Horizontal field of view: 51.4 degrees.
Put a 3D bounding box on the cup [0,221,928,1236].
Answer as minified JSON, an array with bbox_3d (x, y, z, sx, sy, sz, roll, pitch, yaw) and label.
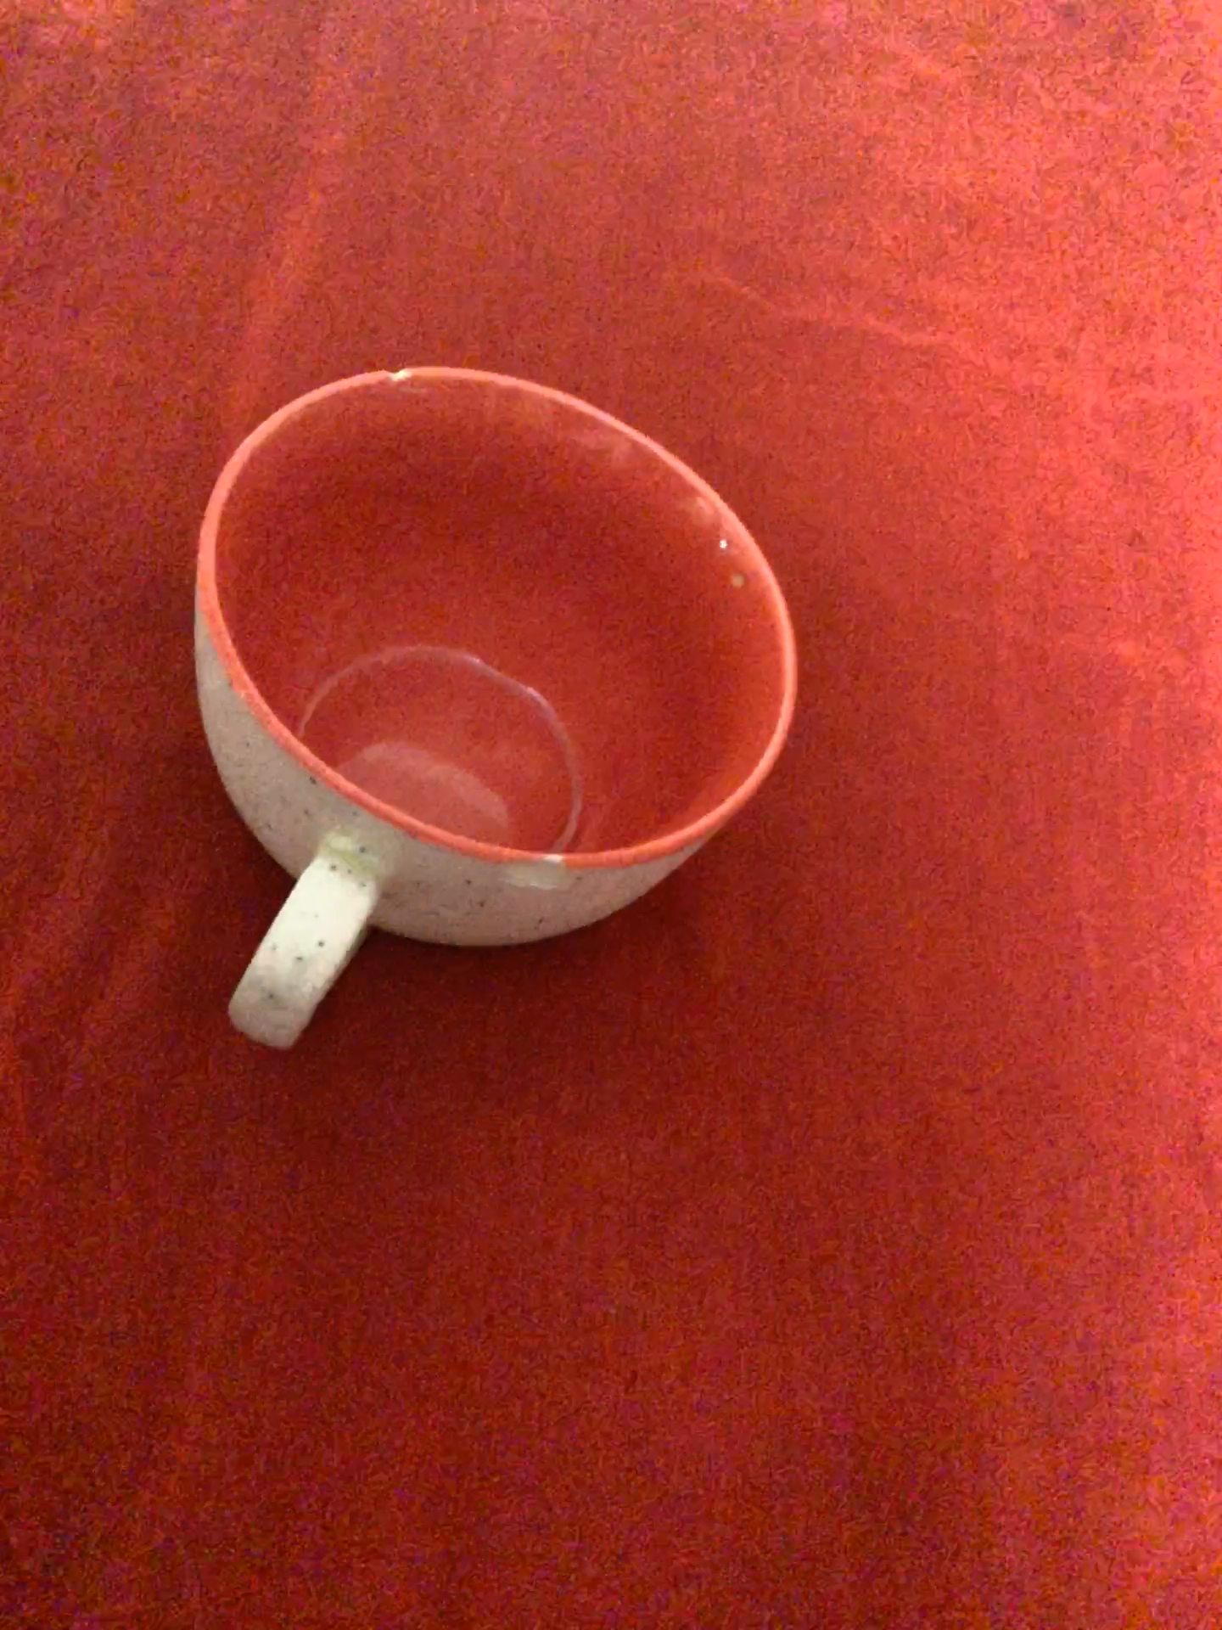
[{"bbox_3d":[-0.030,-0.020,0.248,0.130,0.070,0.141,8,60,-15],"label":"cup"}]
